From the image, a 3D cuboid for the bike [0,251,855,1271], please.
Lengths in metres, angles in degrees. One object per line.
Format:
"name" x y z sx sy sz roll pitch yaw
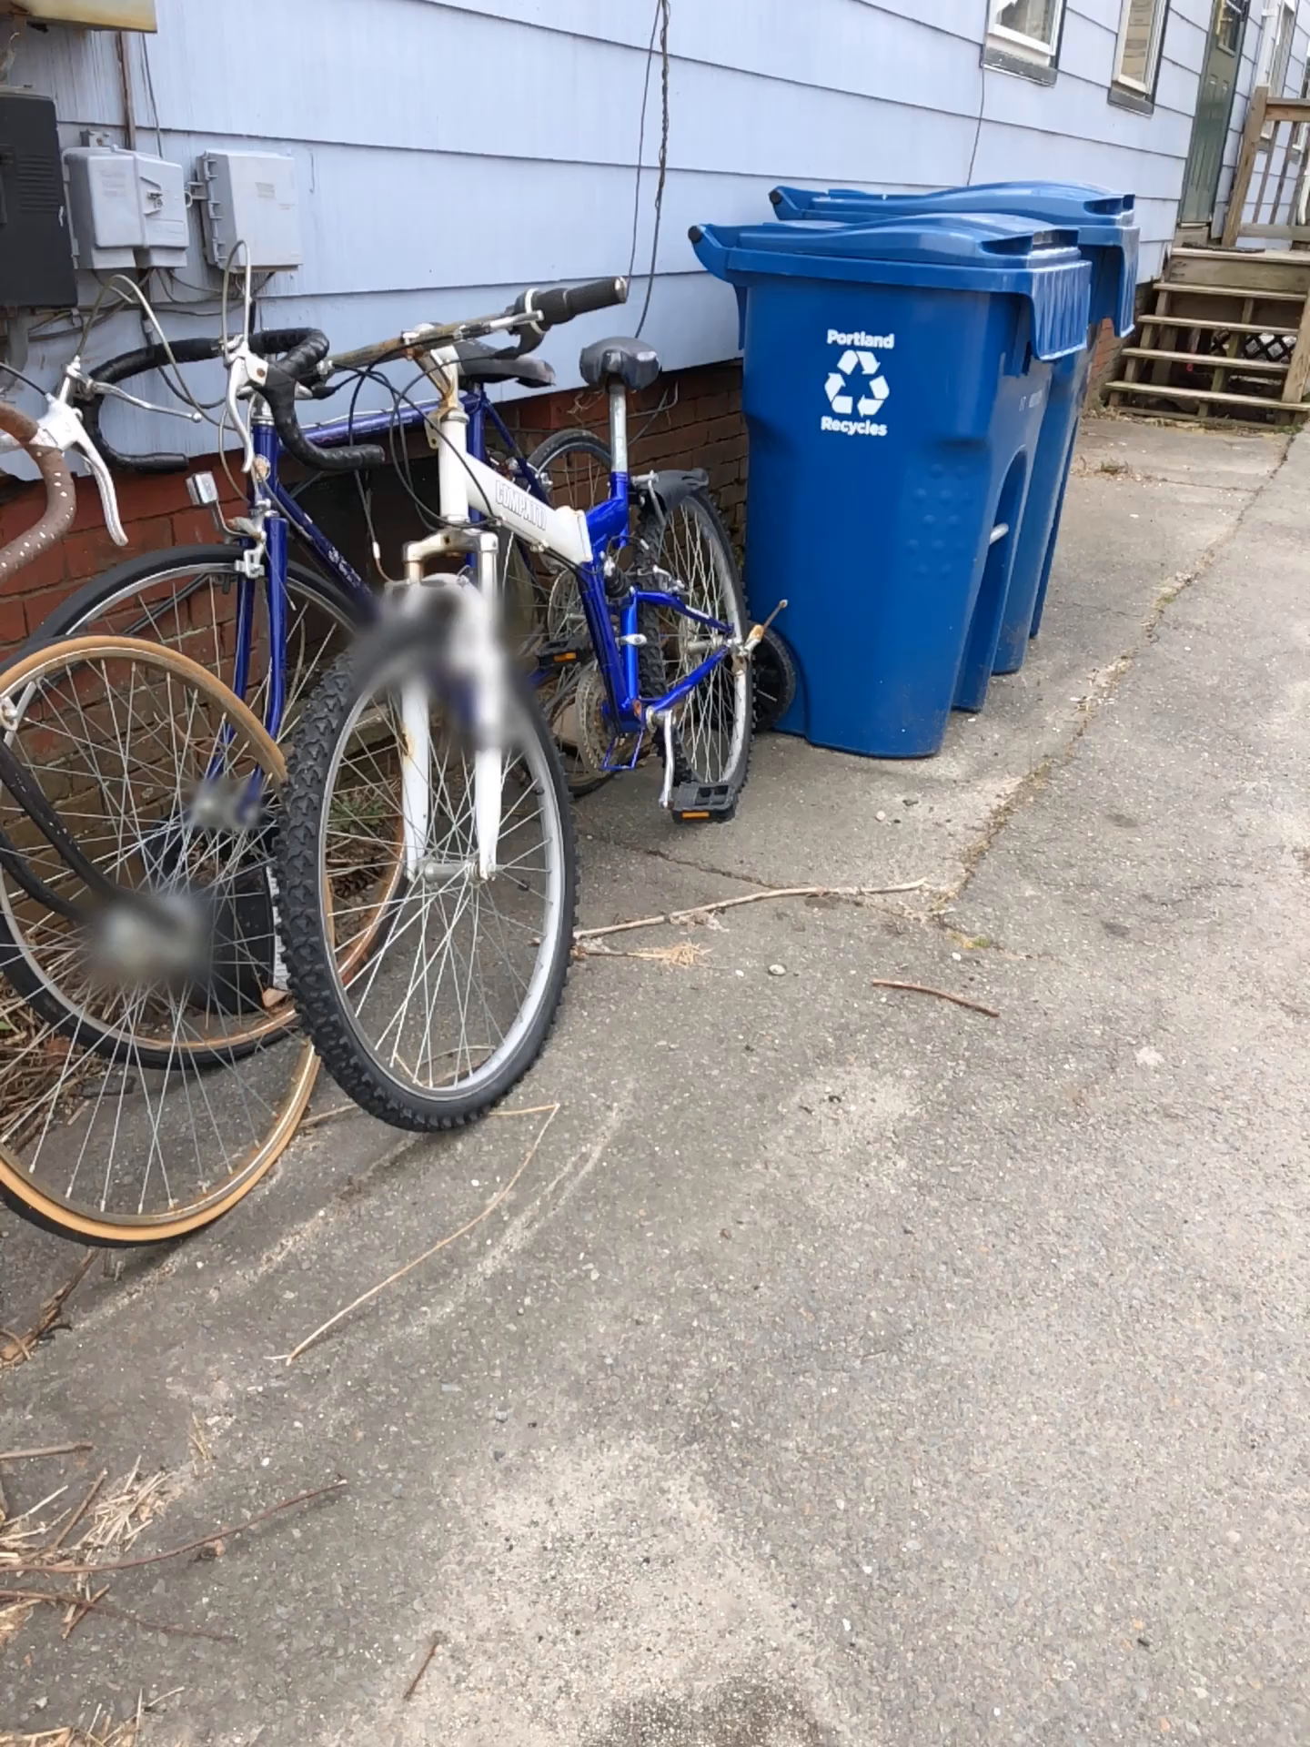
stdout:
"bike" -0.179 -0.397 2.350 0.562 0.979 1.739 10 29 16
